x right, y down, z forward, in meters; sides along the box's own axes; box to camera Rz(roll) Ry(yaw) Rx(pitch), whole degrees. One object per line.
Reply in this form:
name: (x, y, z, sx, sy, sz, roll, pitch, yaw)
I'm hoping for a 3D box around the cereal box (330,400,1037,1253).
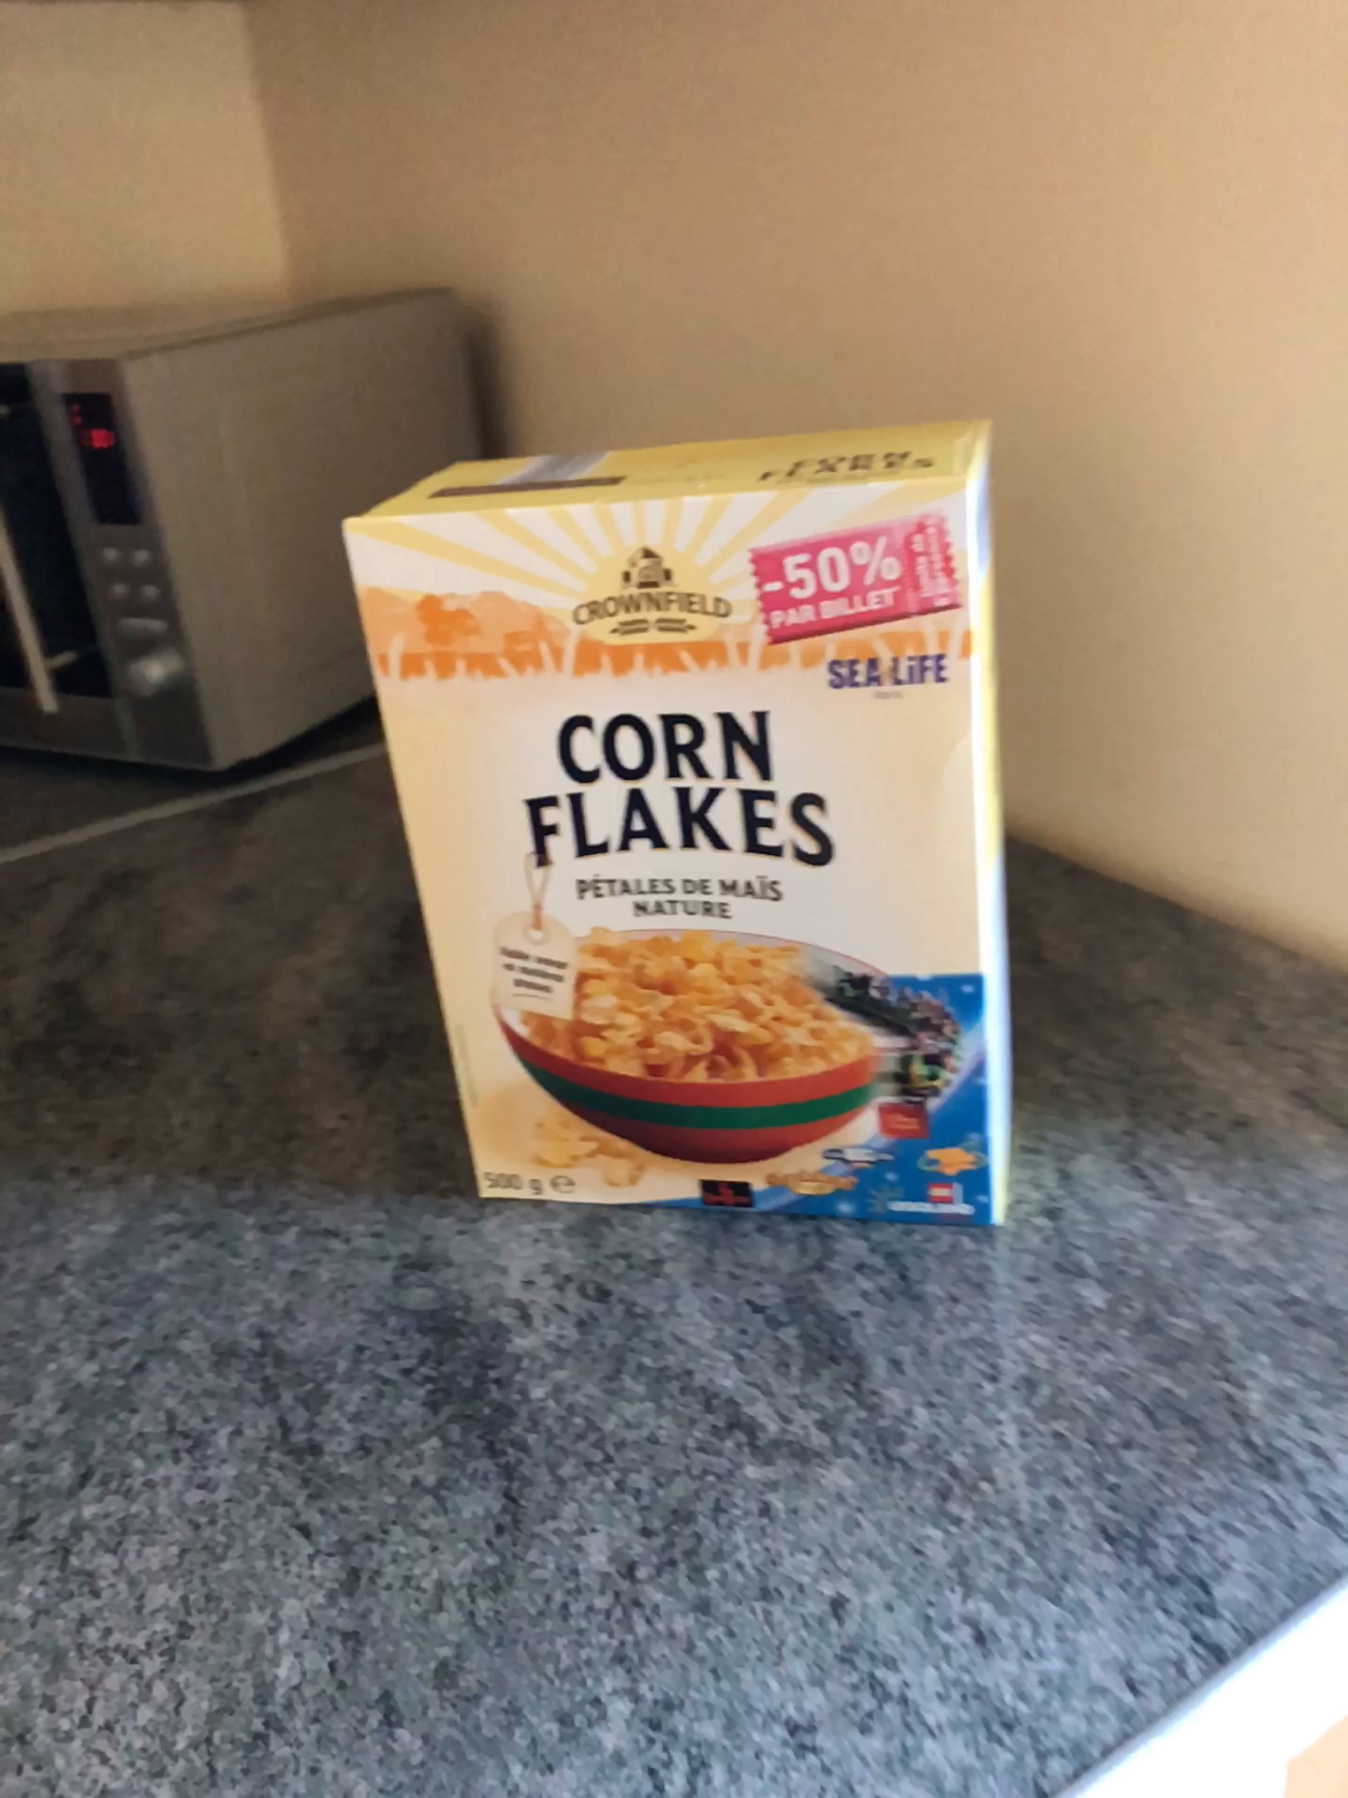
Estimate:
cereal box: (0.020, -0.022, 0.511, 0.200, 0.259, 0.101, 1, 26, 15)
